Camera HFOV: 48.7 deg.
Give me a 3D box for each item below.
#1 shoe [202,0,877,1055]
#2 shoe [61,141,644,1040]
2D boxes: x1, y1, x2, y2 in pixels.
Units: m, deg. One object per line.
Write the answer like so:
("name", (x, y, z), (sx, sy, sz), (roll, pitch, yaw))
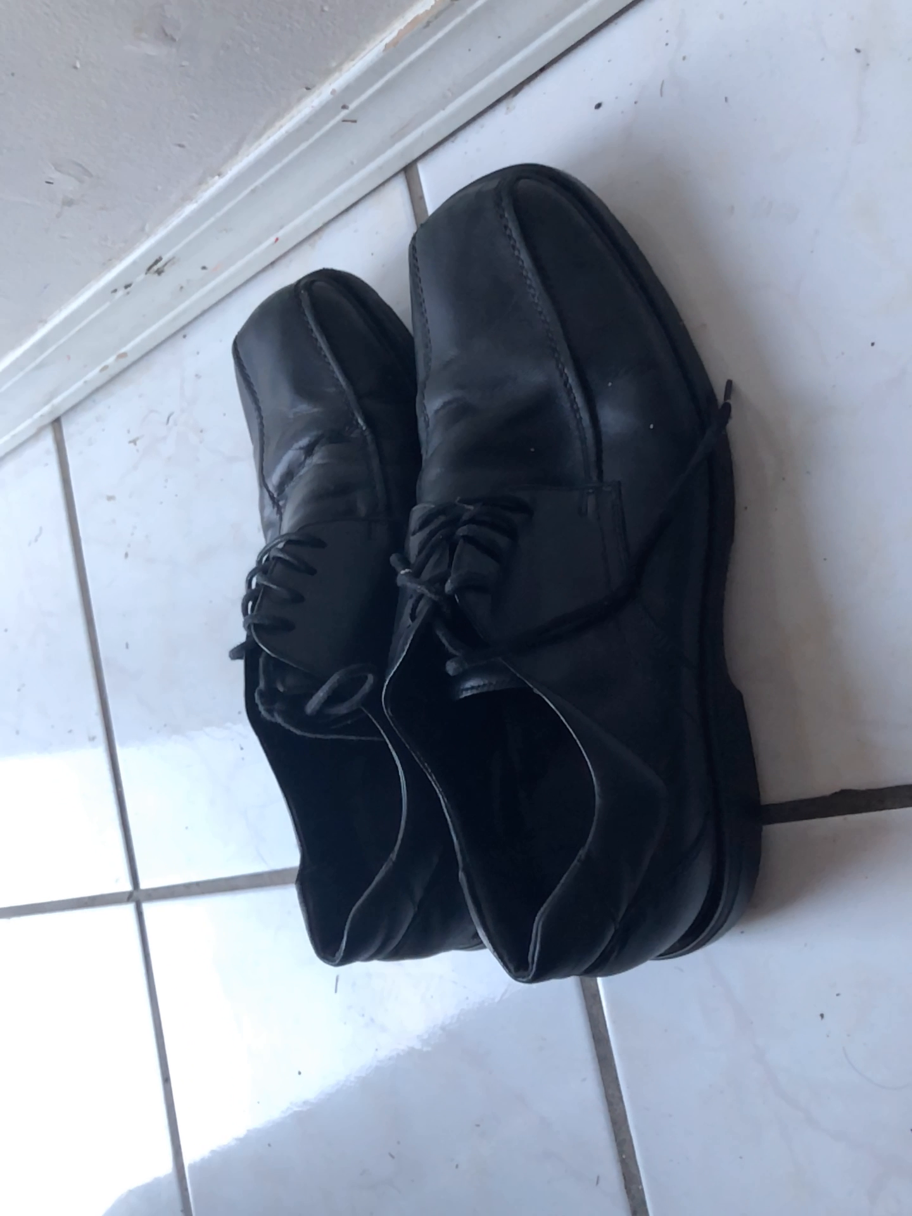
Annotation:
("shoe", (0.021, -0.026, 0.321), (0.111, 0.099, 0.290), (-20, 79, 38))
("shoe", (-0.047, -0.004, 0.390), (0.121, 0.099, 0.290), (-25, 77, 37))
